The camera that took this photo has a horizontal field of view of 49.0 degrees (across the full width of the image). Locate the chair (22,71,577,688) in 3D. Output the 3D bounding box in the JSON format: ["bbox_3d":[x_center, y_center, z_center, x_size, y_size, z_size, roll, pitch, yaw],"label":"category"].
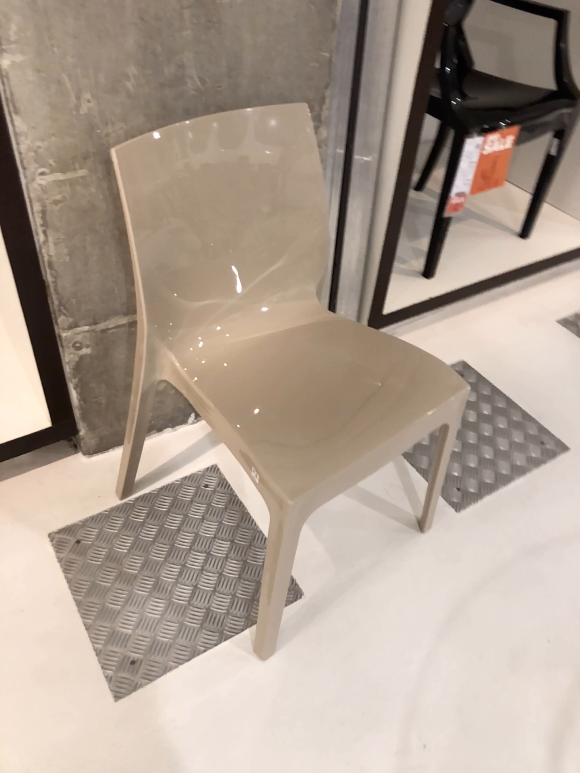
[{"bbox_3d":[-0.022,-0.022,1.169,0.552,0.824,0.562,-27,51,-31],"label":"chair"}]
